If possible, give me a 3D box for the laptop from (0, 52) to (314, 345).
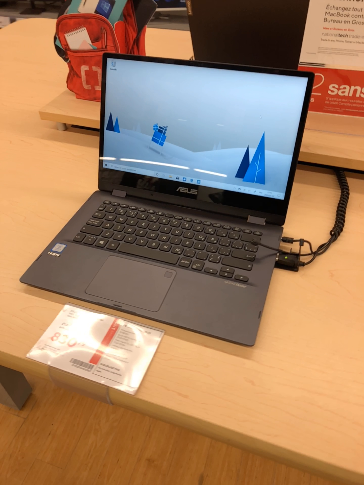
[{"bbox_3d":[-0.020,-0.090,0.540,0.313,0.188,0.314,13,46,16],"label":"laptop"}]
